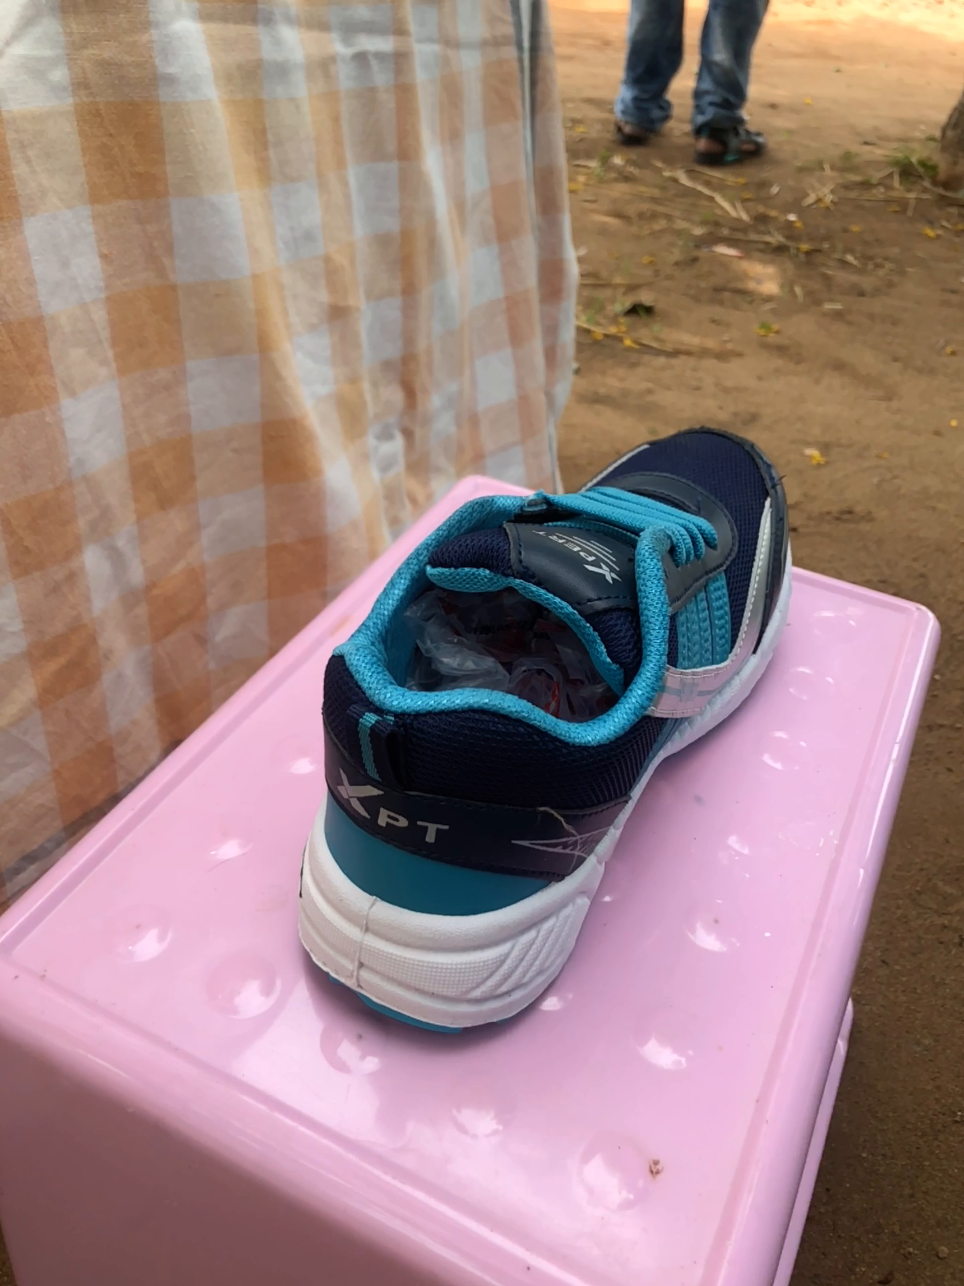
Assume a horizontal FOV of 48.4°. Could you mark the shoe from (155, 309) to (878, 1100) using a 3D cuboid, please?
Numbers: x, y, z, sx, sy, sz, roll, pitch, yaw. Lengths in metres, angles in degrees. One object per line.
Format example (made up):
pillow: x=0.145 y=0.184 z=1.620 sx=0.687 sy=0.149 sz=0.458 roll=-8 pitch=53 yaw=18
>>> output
shoe: x=0.034 y=-0.011 z=0.363 sx=0.110 sy=0.109 sz=0.271 roll=21 pitch=39 yaw=21
